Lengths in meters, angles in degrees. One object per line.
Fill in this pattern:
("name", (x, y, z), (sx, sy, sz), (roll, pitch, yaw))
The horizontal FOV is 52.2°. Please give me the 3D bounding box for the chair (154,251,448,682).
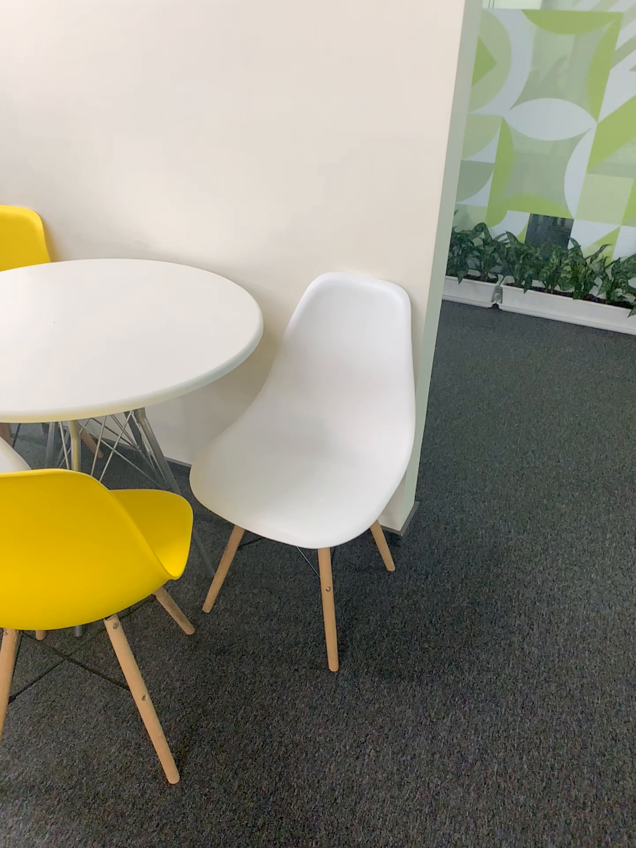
("chair", (-0.031, 0.098, 1.619), (0.480, 0.875, 0.442), (16, 35, 21))
